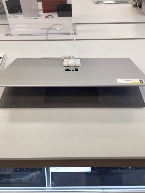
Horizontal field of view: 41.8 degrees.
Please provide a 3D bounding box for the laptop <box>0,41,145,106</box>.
[{"bbox_3d":[-0.010,-0.067,0.492,0.343,0.063,0.207,-1,43,2],"label":"laptop"}]
